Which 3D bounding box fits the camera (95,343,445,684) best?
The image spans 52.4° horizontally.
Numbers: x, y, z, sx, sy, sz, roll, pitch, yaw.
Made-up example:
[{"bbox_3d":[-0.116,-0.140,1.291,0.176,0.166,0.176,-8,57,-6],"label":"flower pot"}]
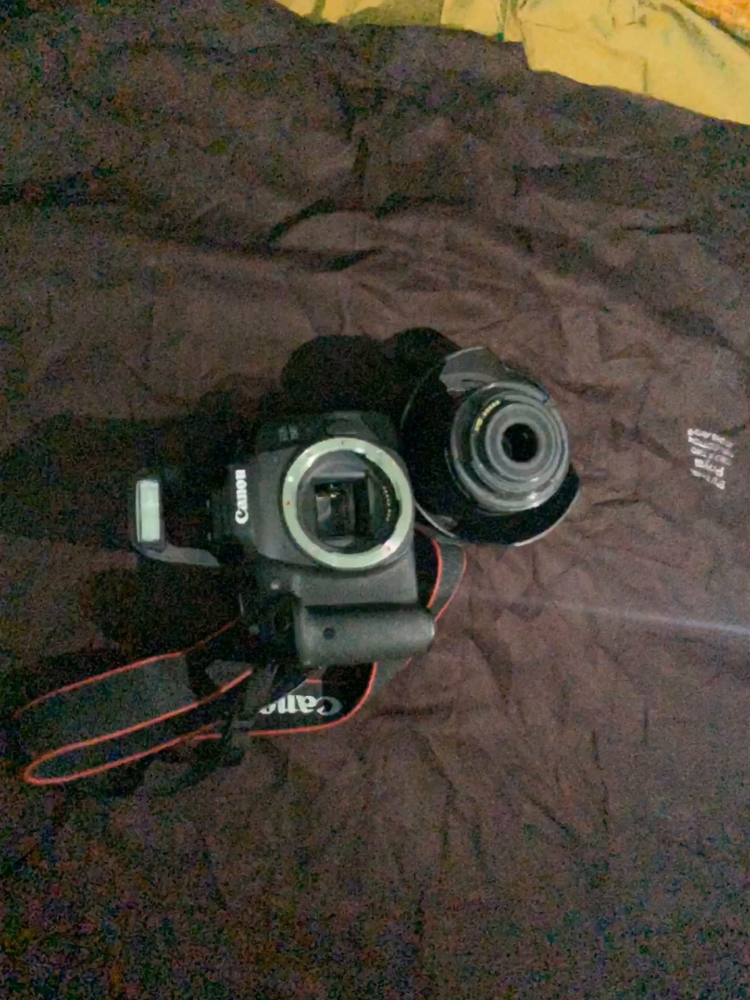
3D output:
[{"bbox_3d":[-0.060,0.008,0.391,0.150,0.082,0.147,-2,74,-20],"label":"camera"}]
